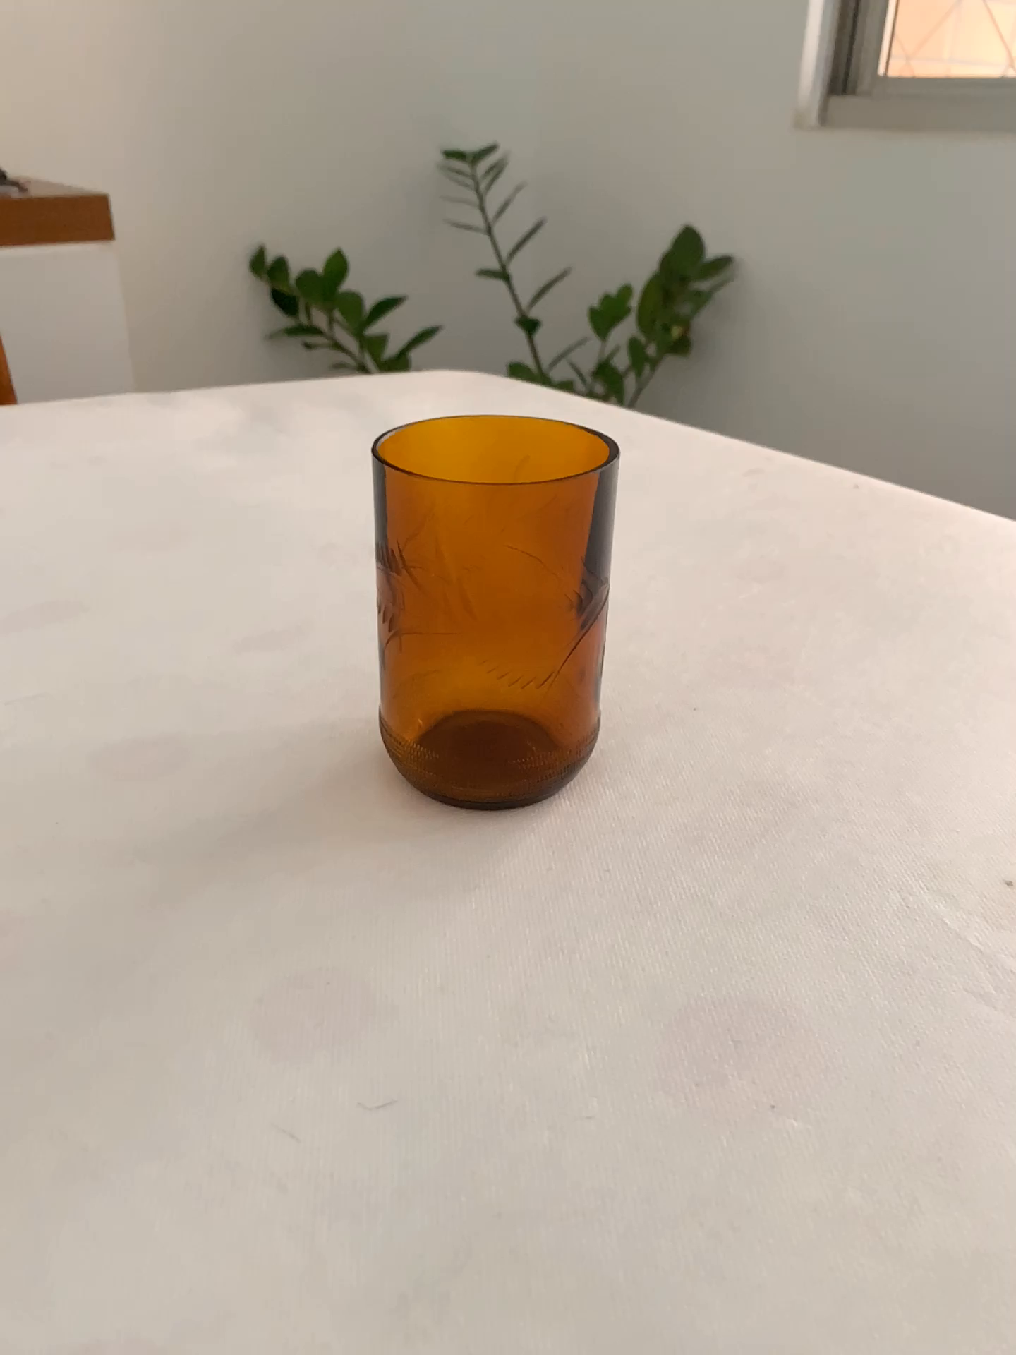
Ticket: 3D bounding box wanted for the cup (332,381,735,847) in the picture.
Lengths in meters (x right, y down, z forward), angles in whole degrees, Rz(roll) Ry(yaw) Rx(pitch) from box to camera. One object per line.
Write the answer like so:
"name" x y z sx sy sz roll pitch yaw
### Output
"cup" 0.004 -0.022 0.279 0.070 0.089 0.070 1 28 -1
